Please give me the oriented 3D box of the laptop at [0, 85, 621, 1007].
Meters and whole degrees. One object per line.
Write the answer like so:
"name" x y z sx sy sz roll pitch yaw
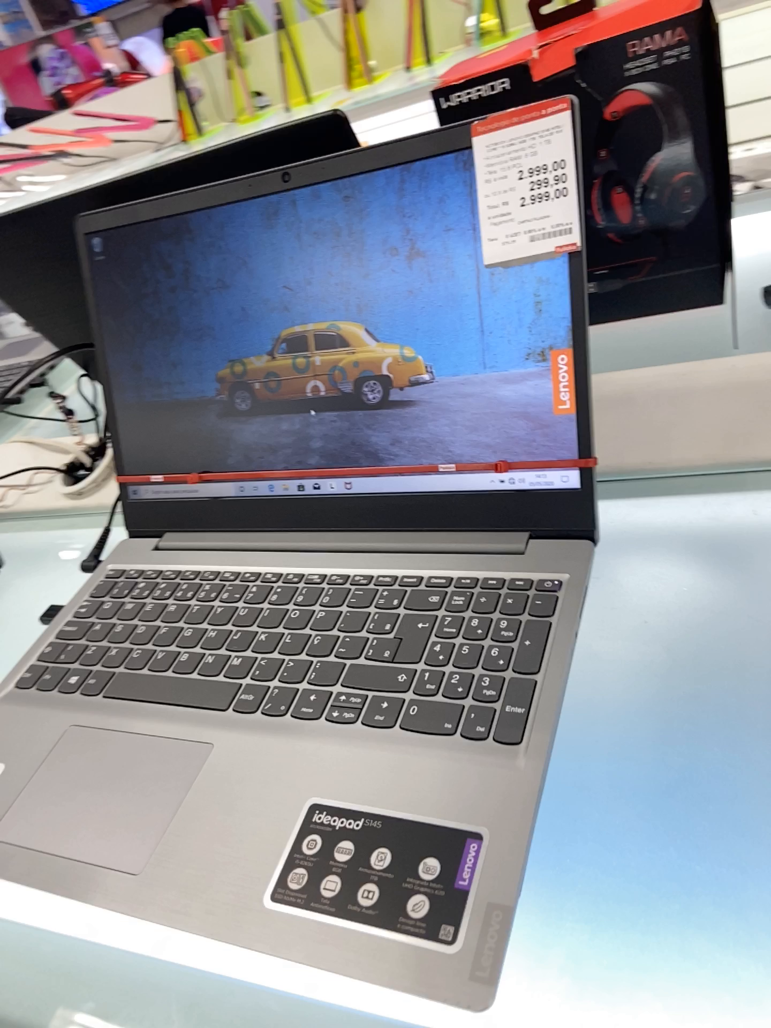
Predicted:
"laptop" -0.100 -0.025 0.442 0.369 0.209 0.381 -2 39 27
